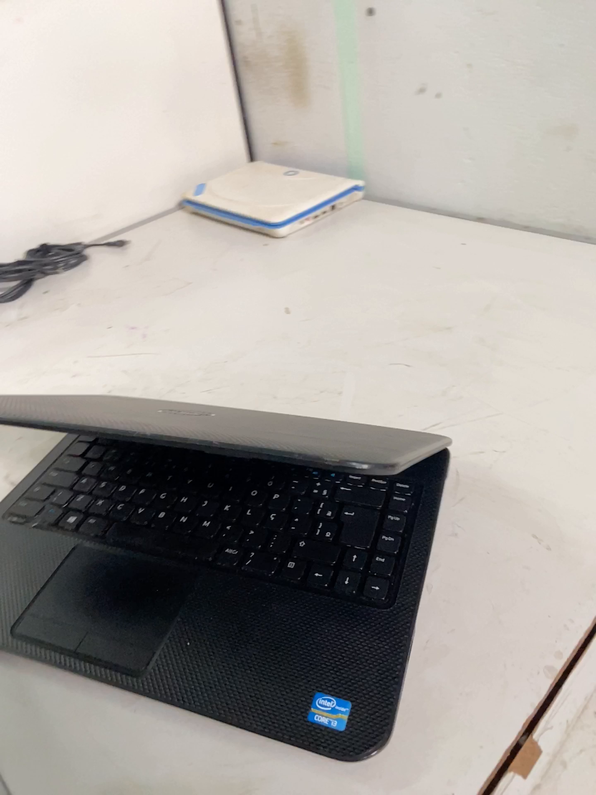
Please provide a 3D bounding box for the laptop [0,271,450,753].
[{"bbox_3d":[-0.086,0.036,0.406,0.330,0.141,0.231,6,39,21],"label":"laptop"}]
